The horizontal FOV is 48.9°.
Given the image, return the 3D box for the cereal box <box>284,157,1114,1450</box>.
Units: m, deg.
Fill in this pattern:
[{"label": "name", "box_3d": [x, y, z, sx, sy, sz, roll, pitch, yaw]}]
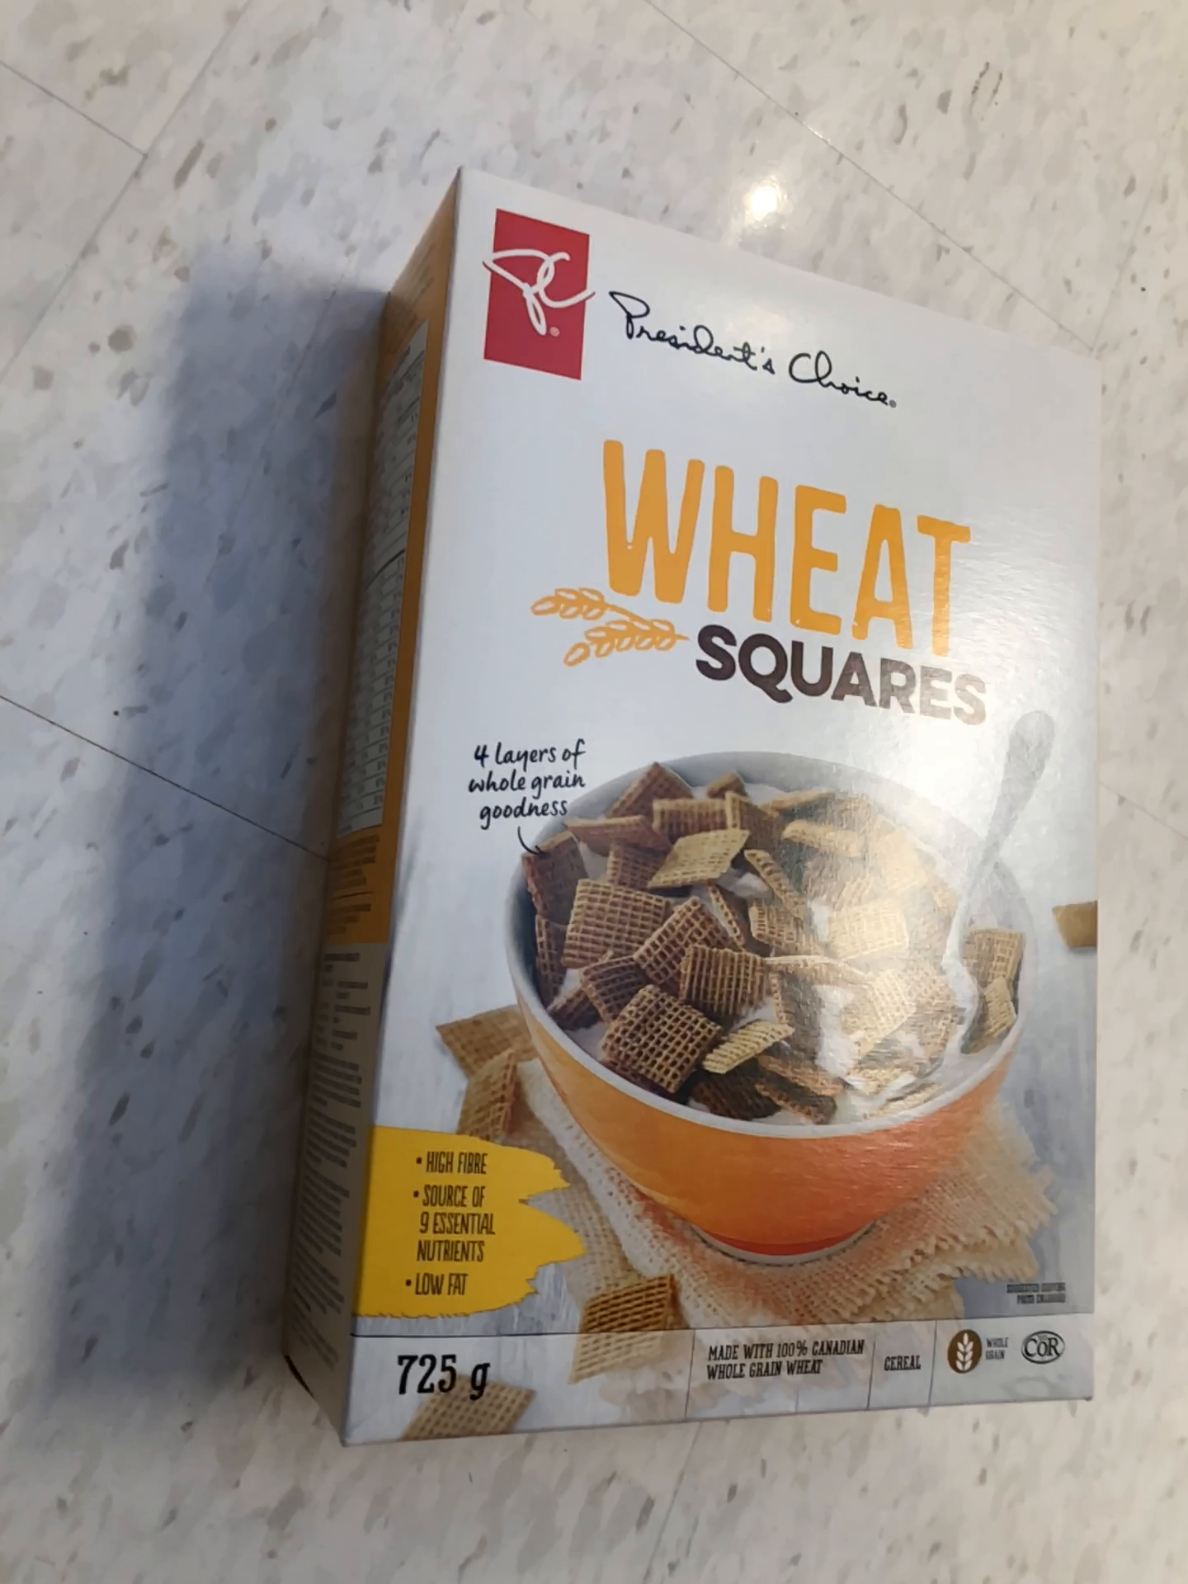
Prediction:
[{"label": "cereal box", "box_3d": [0.037, 0.008, 0.363, 0.200, 0.080, 0.290, 8, 79, -22]}]
